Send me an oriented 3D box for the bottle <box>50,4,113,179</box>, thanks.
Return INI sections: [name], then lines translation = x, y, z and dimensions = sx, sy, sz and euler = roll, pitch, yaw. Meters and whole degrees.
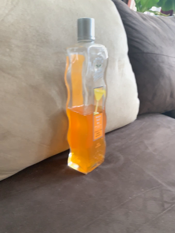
[bottle]
translation = -0.006, -0.039, 0.366
dimensions = 0.080, 0.299, 0.080
euler = -1, 16, 0
